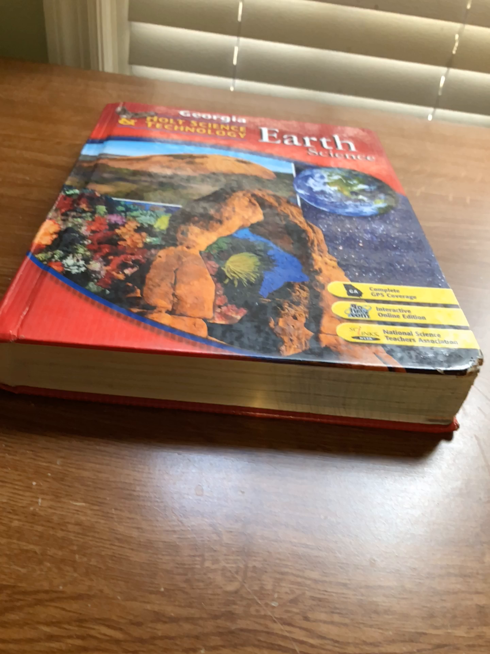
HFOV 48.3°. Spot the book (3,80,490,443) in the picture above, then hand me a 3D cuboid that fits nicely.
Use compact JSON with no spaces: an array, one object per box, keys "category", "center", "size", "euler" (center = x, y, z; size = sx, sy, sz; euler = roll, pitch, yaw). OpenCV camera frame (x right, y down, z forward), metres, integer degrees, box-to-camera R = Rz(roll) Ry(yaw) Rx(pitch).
[{"category":"book","center":[0.018,-0.064,0.321],"size":[0.214,0.050,0.267],"euler":[6,40,-4]}]
